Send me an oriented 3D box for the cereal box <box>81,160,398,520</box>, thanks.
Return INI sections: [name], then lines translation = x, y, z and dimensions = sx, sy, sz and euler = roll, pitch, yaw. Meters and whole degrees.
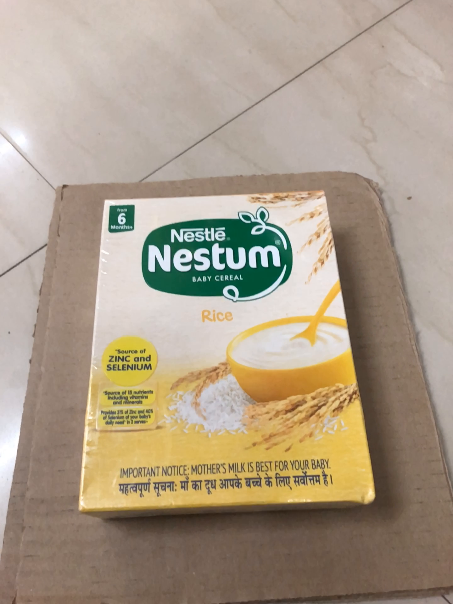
[cereal box]
translation = 0.002, 0.016, 0.312
dimensions = 0.150, 0.060, 0.211
euler = -2, 63, -1
